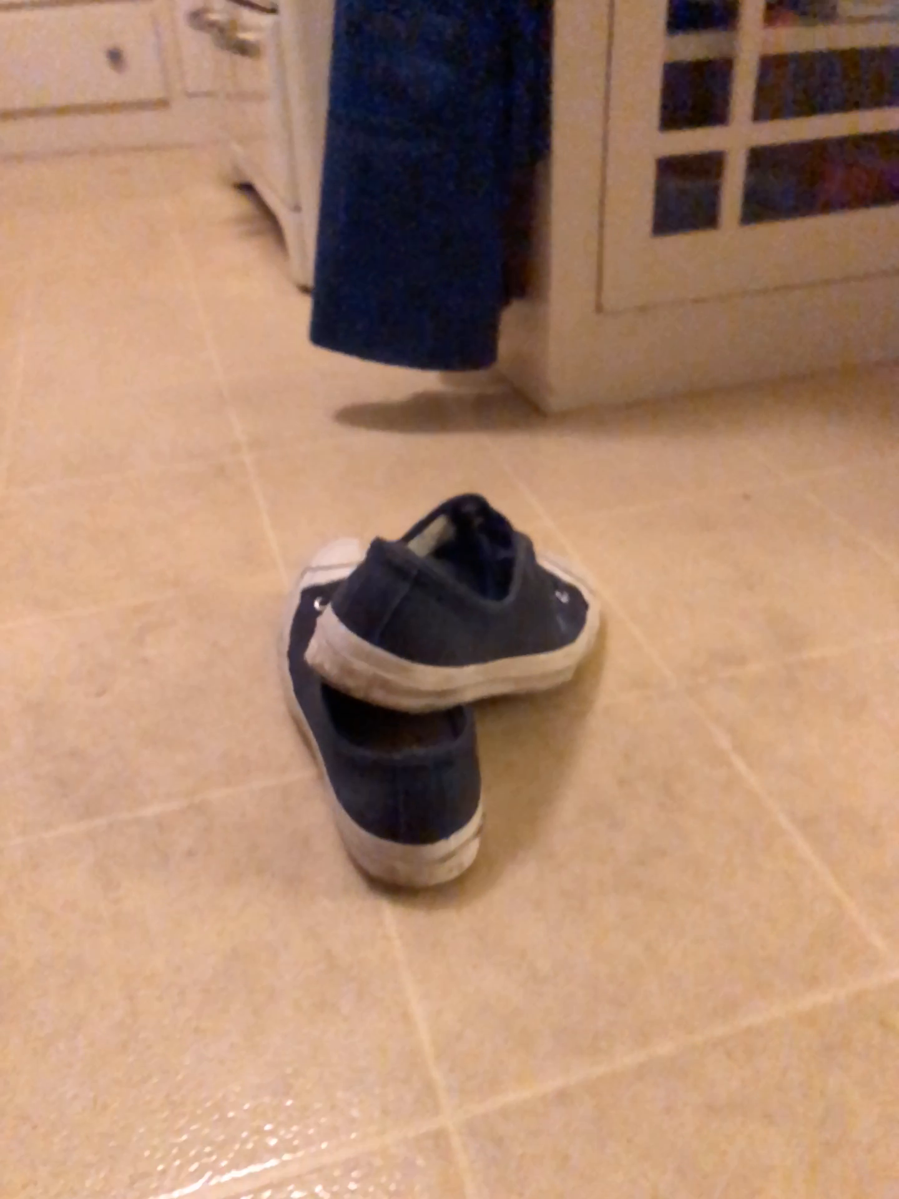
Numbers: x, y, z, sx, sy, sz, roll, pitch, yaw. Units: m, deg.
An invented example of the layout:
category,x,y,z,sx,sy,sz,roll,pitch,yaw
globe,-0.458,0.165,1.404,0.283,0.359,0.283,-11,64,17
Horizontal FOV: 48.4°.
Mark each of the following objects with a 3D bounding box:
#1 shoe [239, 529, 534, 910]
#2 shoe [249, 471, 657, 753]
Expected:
category,x,y,z,sx,sy,sz,roll,pitch,yaw
shoe,-0.054,0.051,0.621,0.110,0.080,0.291,-8,27,-16
shoe,0.021,-0.010,0.626,0.100,0.100,0.291,35,22,19
